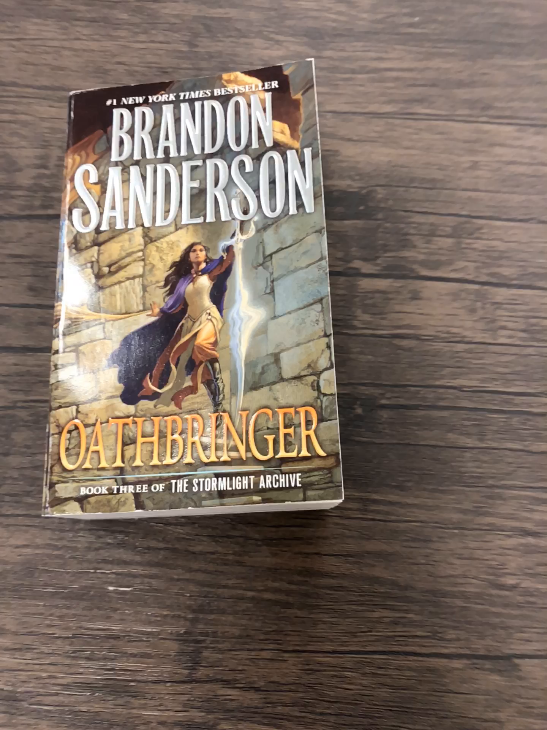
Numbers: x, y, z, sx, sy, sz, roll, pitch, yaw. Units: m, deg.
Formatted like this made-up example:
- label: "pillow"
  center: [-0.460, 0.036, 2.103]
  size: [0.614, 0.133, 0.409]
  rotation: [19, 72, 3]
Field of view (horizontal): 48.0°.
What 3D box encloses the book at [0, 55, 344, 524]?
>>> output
- label: "book"
  center: [-0.036, -0.027, 0.235]
  size: [0.111, 0.058, 0.167]
  rotation: [-1, 75, -1]
